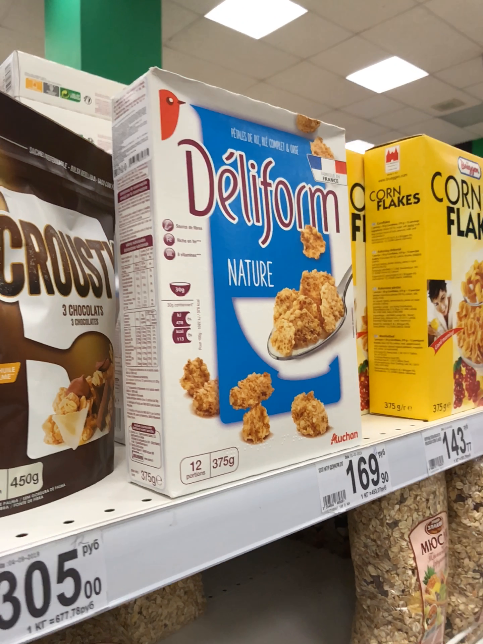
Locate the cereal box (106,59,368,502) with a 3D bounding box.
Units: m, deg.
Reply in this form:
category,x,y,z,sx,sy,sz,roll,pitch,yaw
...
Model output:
category,x,y,z,sx,sy,sz,roll,pitch,yaw
cereal box,0.006,-0.028,0.413,0.200,0.270,0.060,-1,-2,-41
